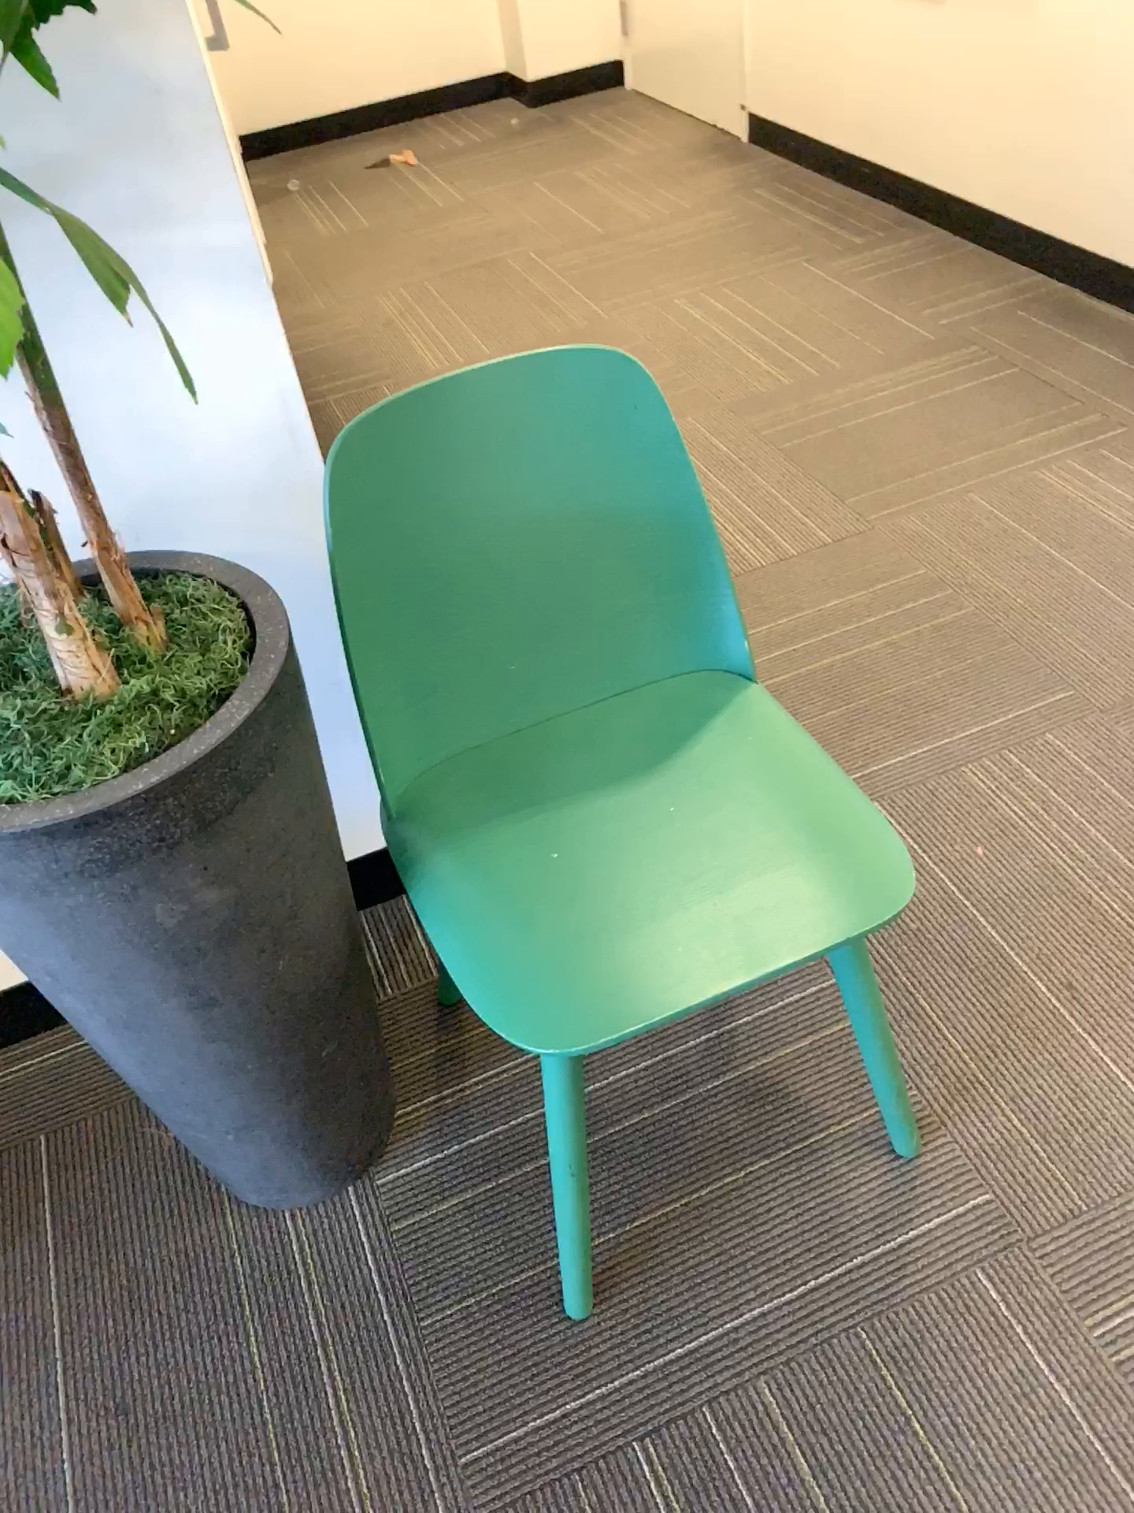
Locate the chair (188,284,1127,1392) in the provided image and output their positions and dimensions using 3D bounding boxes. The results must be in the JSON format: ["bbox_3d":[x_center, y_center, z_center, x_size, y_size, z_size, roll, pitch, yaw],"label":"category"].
[{"bbox_3d":[0.048,0.073,1.126,0.500,0.745,0.604,-20,43,-11],"label":"chair"}]
